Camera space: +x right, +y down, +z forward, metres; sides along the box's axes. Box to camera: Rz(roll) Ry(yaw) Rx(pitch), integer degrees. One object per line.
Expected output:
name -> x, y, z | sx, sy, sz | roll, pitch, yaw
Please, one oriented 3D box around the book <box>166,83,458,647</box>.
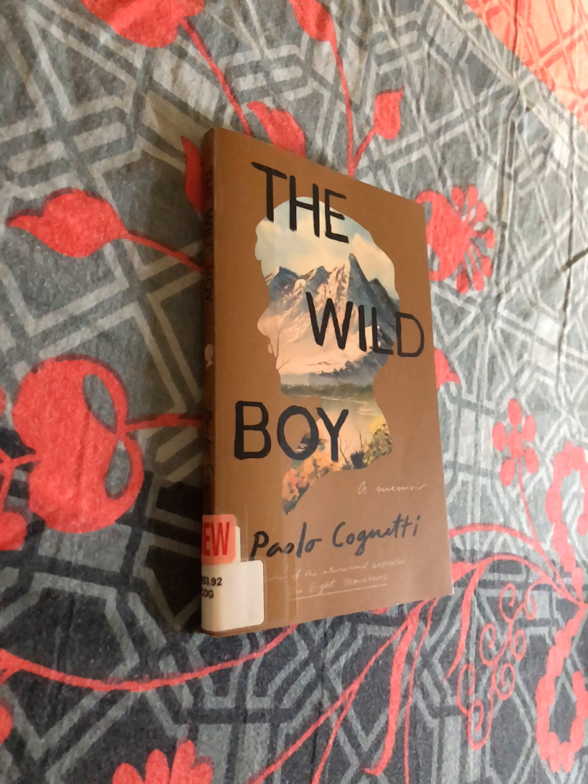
book -> 0.013, -0.011, 0.320 | 0.151, 0.030, 0.230 | 4, 80, -38
